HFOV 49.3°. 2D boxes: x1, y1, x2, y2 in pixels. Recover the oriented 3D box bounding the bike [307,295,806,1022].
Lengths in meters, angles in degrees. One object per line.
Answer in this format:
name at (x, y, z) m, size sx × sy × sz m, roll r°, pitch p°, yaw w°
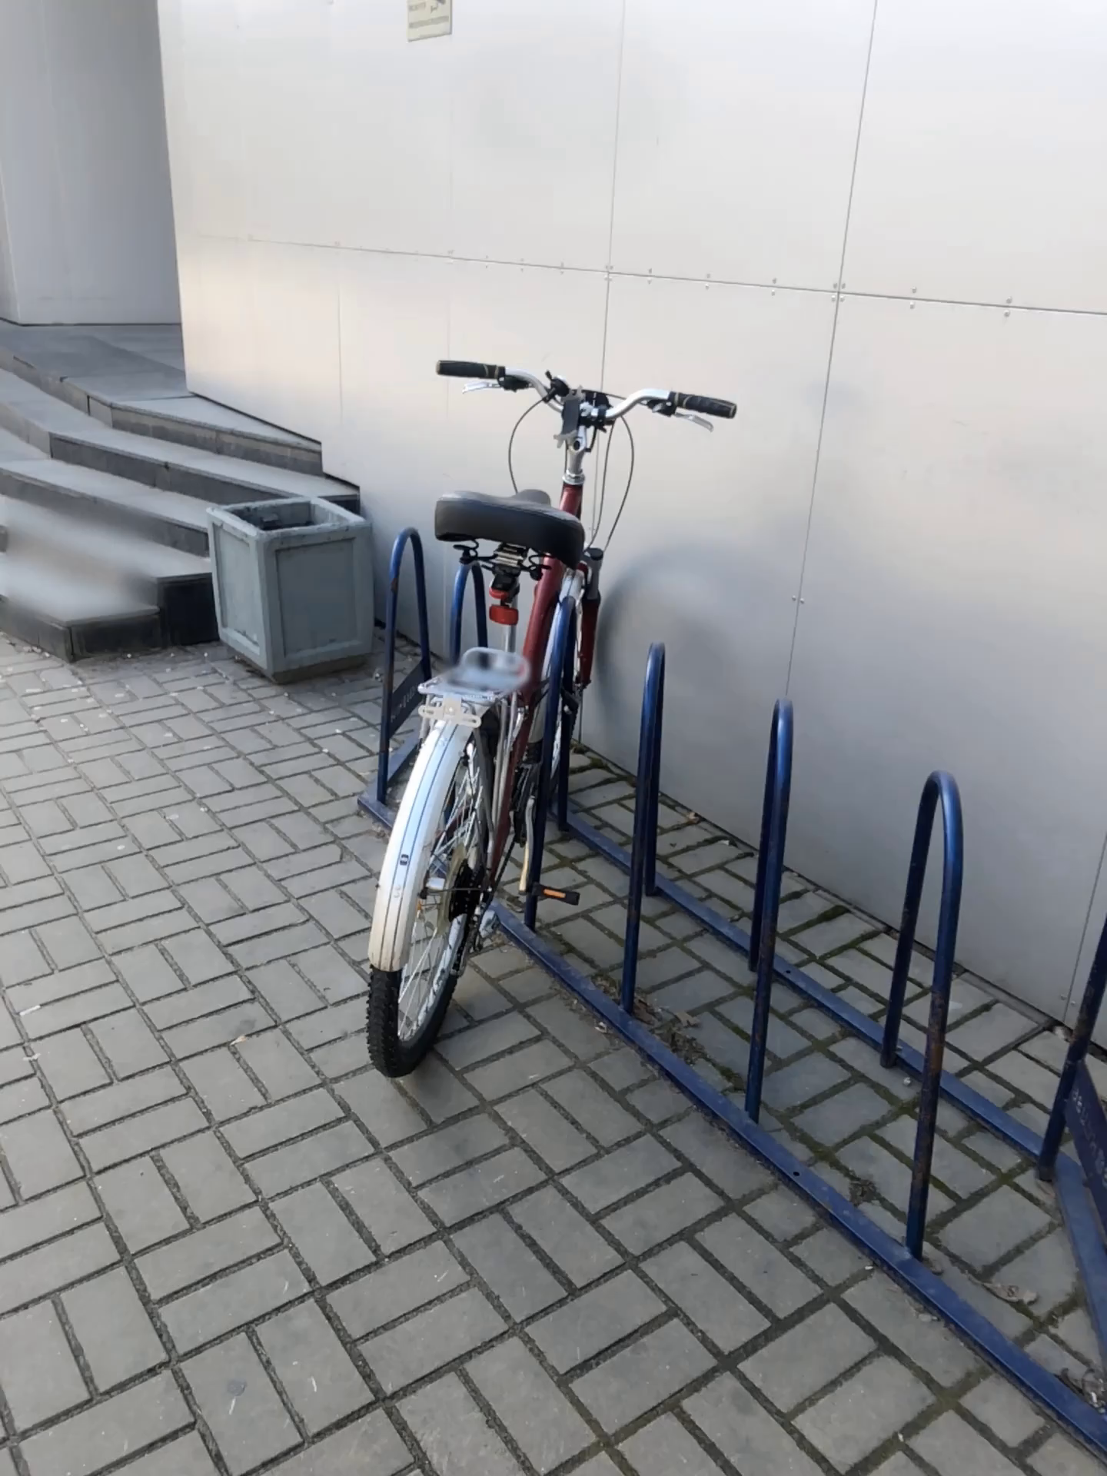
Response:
bike at (0.093, -0.291, 2.483) m, size 0.596 × 0.973 × 1.311 m, roll 8°, pitch 26°, yaw 13°
